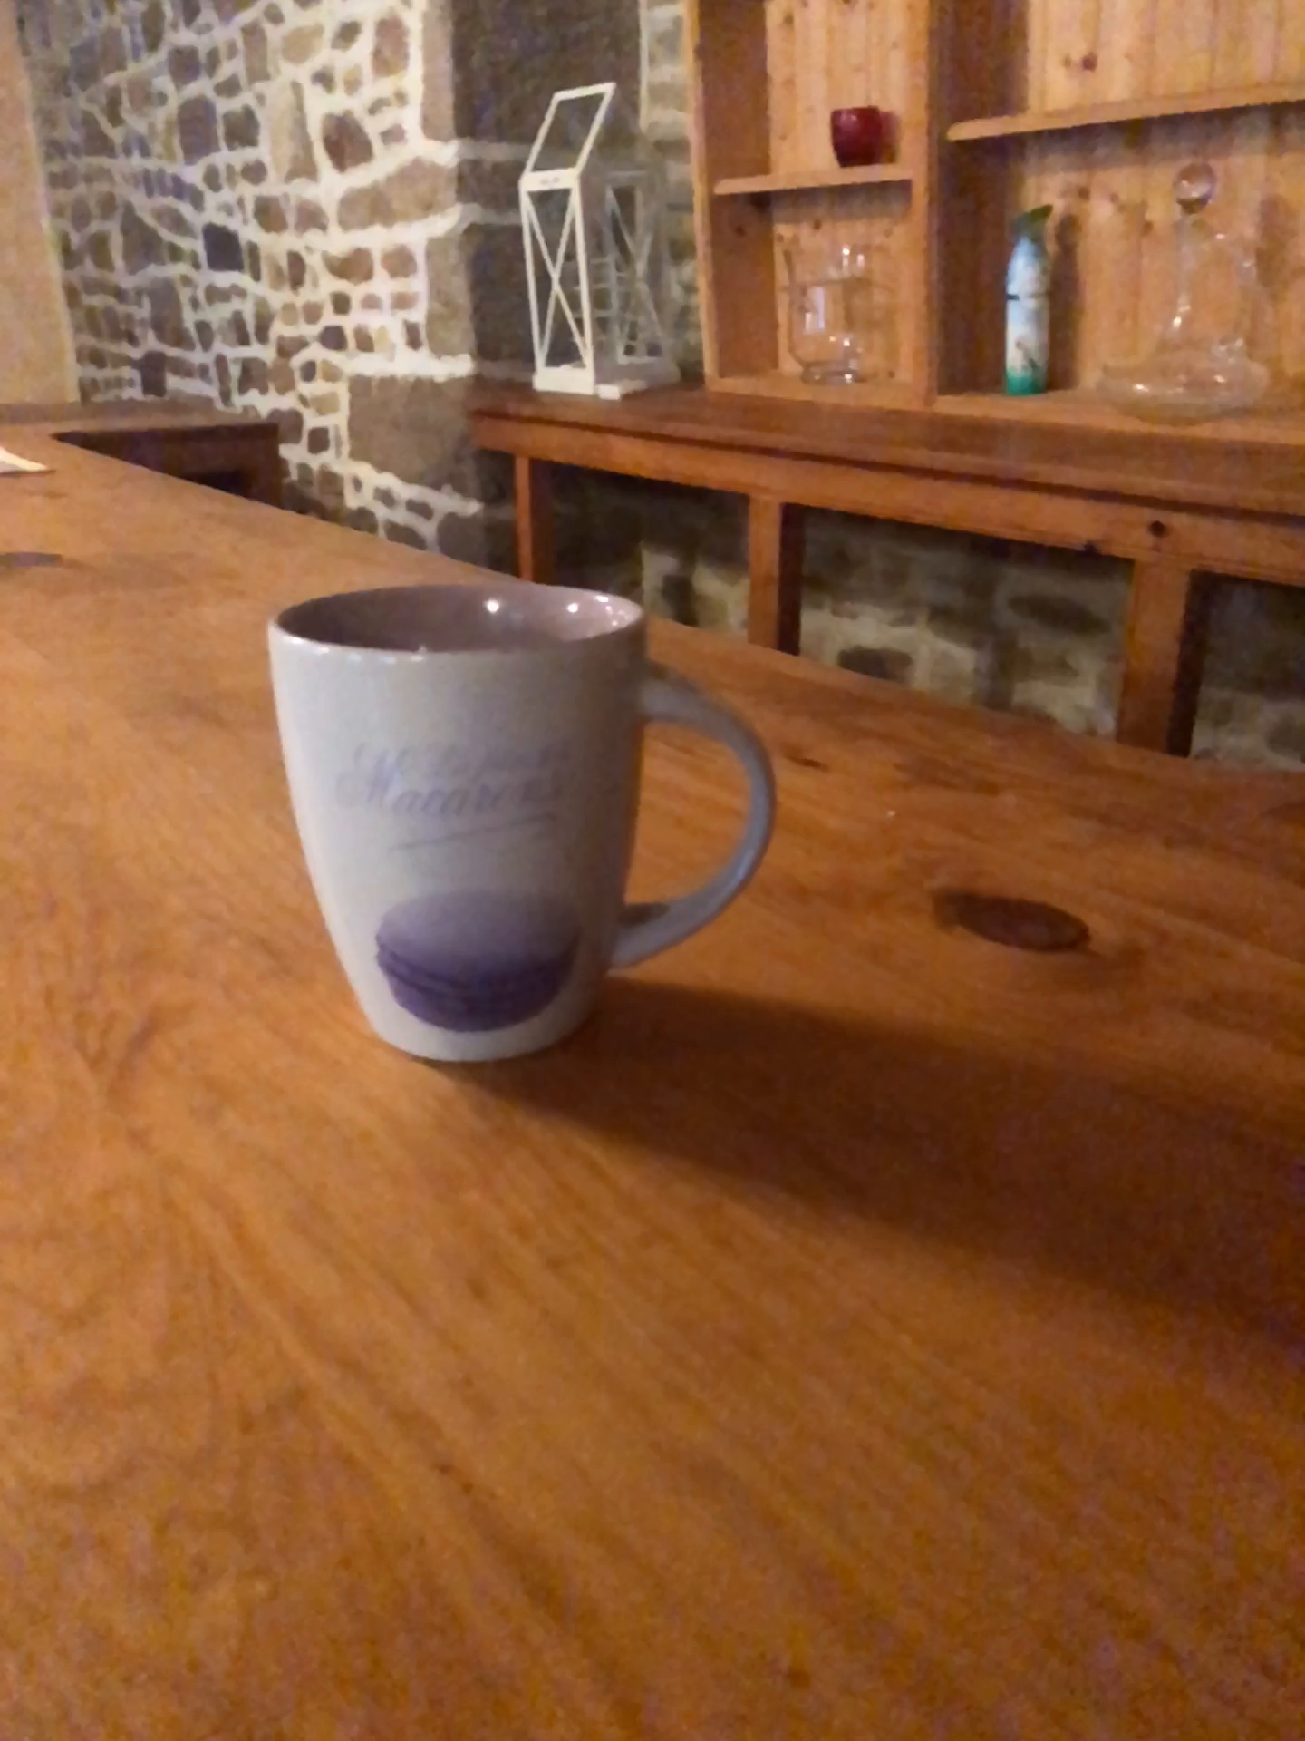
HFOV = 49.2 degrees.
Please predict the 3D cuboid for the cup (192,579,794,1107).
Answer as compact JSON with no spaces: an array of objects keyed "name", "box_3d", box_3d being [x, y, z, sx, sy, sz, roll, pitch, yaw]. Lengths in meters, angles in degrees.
[{"name":"cup","box_3d":[-0.035,-0.013,0.349,0.120,0.095,0.101,-2,22,-4]}]
